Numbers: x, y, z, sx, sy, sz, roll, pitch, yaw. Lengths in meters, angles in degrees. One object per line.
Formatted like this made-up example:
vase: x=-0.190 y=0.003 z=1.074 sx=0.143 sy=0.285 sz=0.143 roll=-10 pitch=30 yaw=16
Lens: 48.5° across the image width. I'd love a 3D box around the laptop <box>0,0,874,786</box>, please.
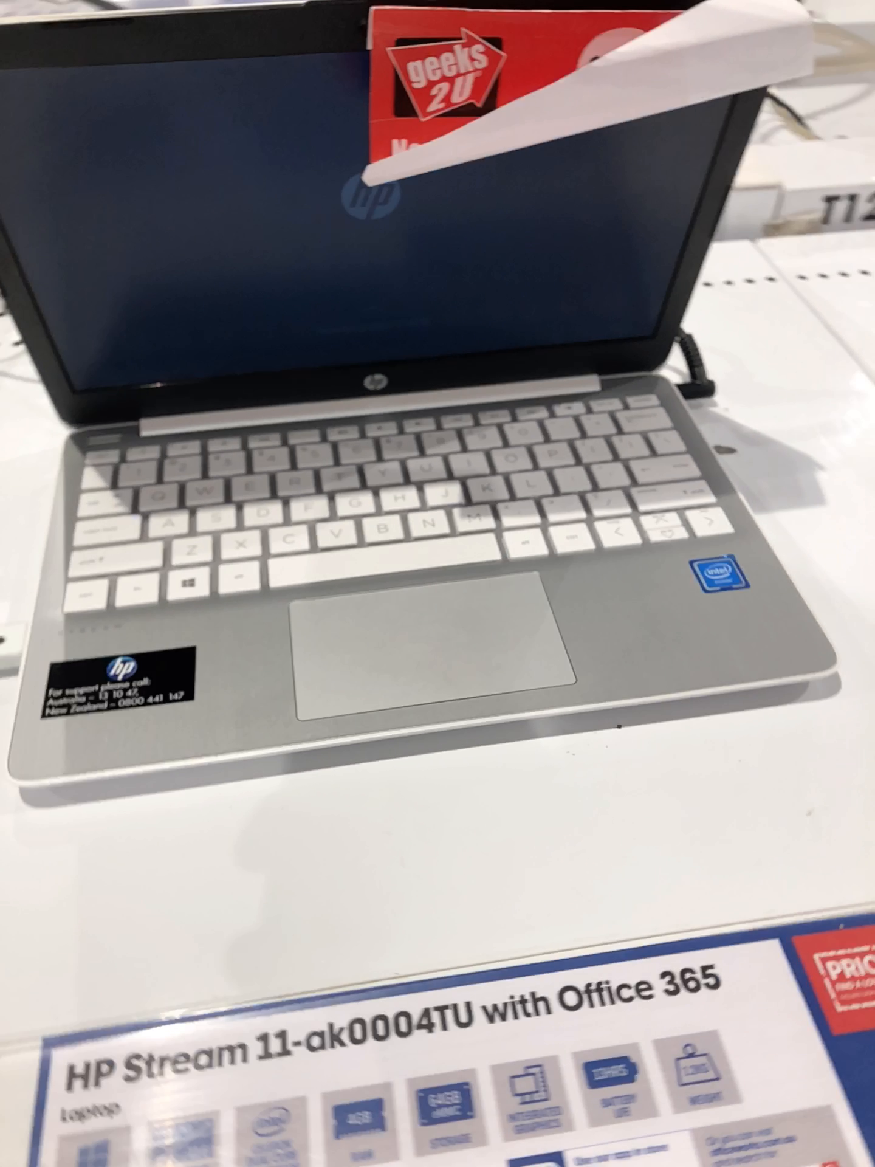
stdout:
laptop: x=-0.012 y=-0.081 z=0.321 sx=0.273 sy=0.173 sz=0.184 roll=-7 pitch=45 yaw=-7
